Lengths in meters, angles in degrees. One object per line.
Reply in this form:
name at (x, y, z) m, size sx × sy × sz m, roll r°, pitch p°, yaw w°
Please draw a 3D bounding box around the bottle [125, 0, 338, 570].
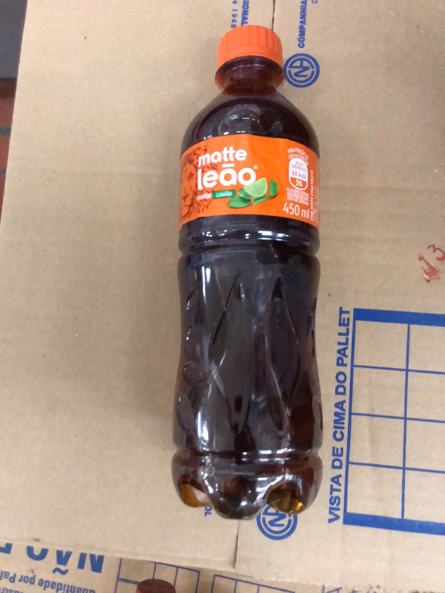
bottle at (0.008, -0.018, 0.205) m, size 0.070 × 0.060 × 0.220 m, roll 1°, pitch 84°, yaw 4°
